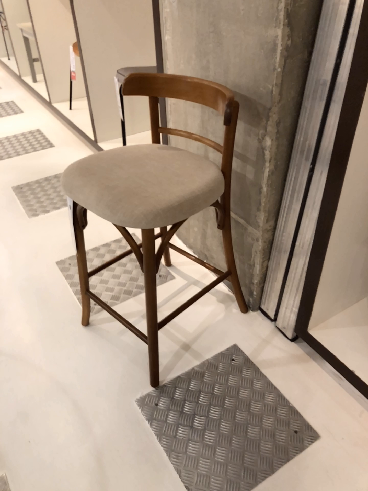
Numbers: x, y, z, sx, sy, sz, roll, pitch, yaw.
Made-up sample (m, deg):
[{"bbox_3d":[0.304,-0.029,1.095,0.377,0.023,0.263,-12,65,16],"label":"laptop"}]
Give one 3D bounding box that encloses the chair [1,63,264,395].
[{"bbox_3d":[-0.123,-0.065,1.302,0.492,0.813,0.482,30,47,34],"label":"chair"}]
